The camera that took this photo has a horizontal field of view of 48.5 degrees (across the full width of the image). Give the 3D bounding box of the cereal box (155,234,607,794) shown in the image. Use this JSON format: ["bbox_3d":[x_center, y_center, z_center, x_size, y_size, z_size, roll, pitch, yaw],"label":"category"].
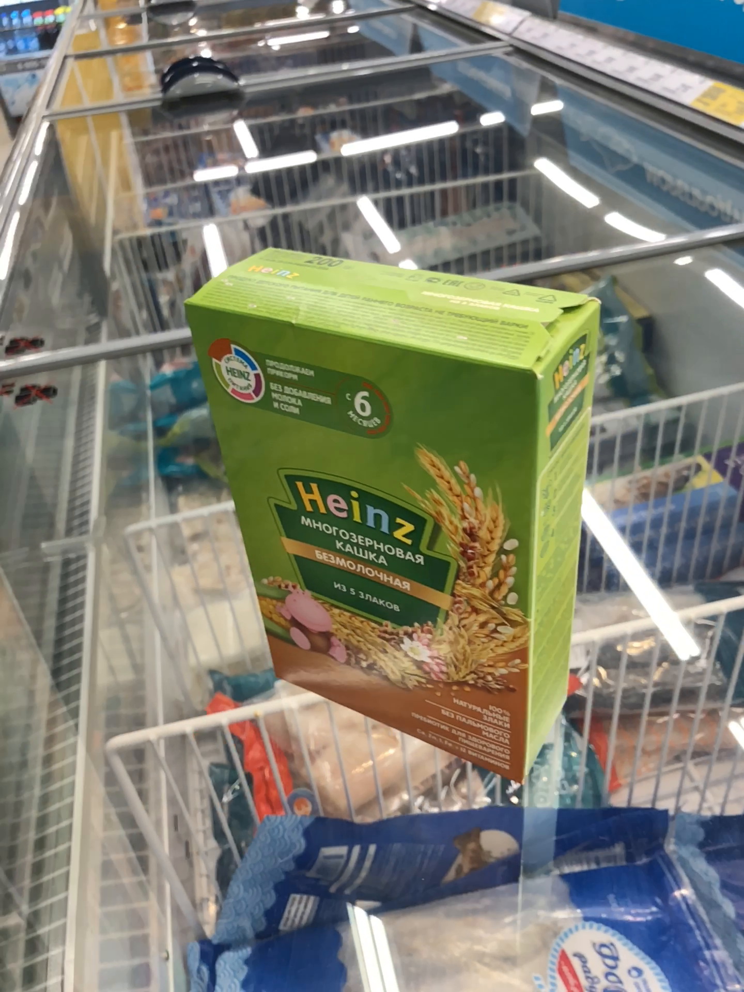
[{"bbox_3d":[0.008,0.011,0.325,0.140,0.199,0.050,16,43,27],"label":"cereal box"}]
